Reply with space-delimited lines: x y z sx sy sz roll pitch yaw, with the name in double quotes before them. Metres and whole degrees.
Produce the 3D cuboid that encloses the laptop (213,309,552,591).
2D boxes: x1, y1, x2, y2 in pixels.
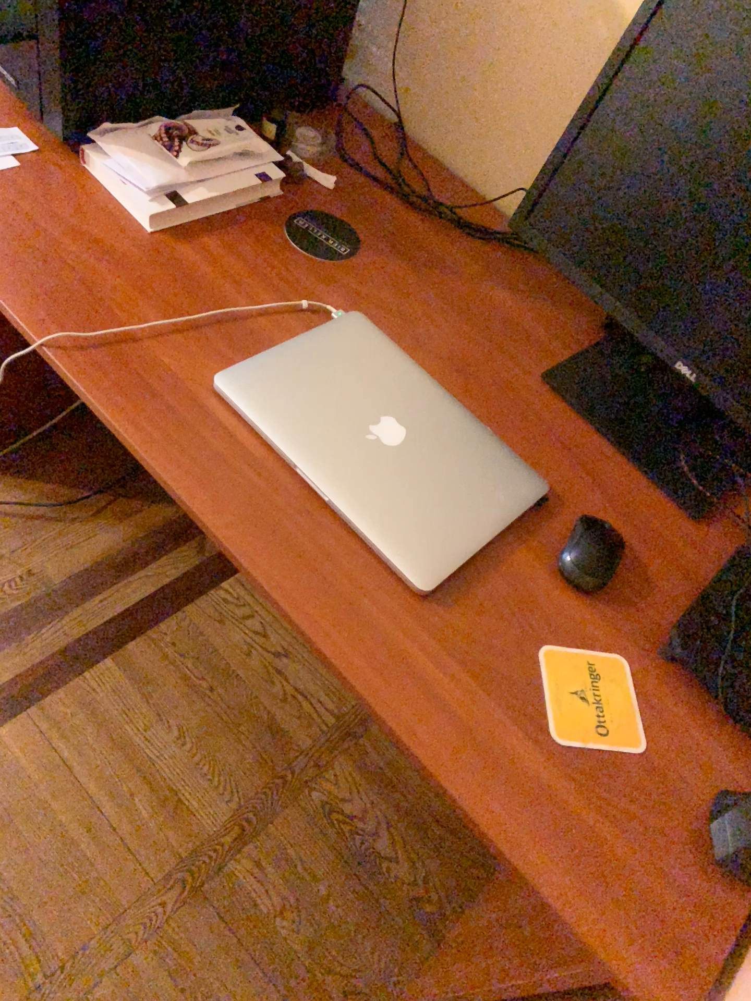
"laptop" 0.012 -0.071 0.790 0.306 0.001 0.214 45 54 15
